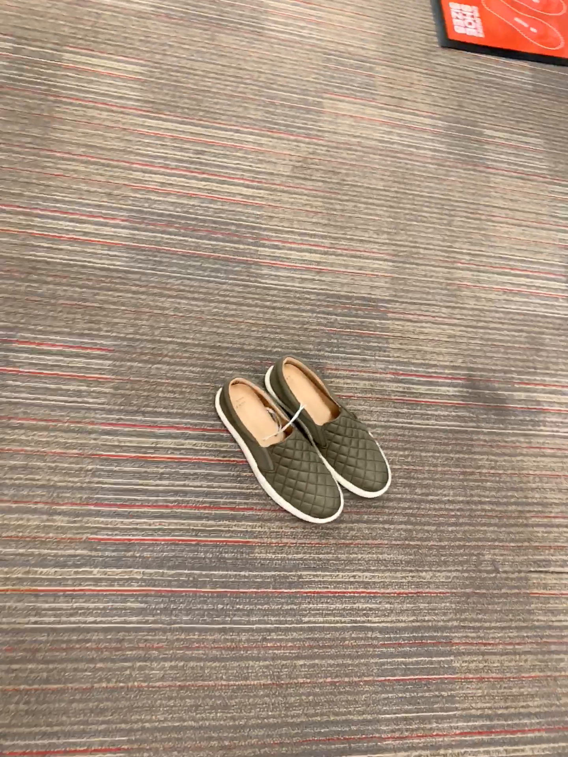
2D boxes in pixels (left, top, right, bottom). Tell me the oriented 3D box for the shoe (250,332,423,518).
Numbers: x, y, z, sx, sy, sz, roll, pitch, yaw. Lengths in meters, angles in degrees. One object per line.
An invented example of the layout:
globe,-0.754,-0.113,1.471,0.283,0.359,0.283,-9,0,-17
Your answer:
shoe,0.080,0.080,0.976,0.100,0.110,0.290,-37,83,-21

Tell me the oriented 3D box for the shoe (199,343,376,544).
shoe,-0.004,0.107,0.920,0.100,0.130,0.290,-34,82,-21
